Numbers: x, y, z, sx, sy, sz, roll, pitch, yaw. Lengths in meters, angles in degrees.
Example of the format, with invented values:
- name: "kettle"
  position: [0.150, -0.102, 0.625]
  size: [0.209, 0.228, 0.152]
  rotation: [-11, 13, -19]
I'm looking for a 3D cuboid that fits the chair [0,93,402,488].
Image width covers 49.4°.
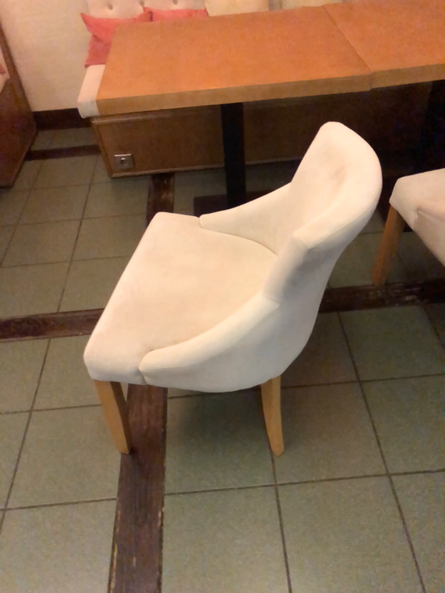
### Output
- name: "chair"
  position: [0.024, -0.025, 1.244]
  size: [0.660, 0.736, 0.633]
  rotation: [4, 45, 10]
